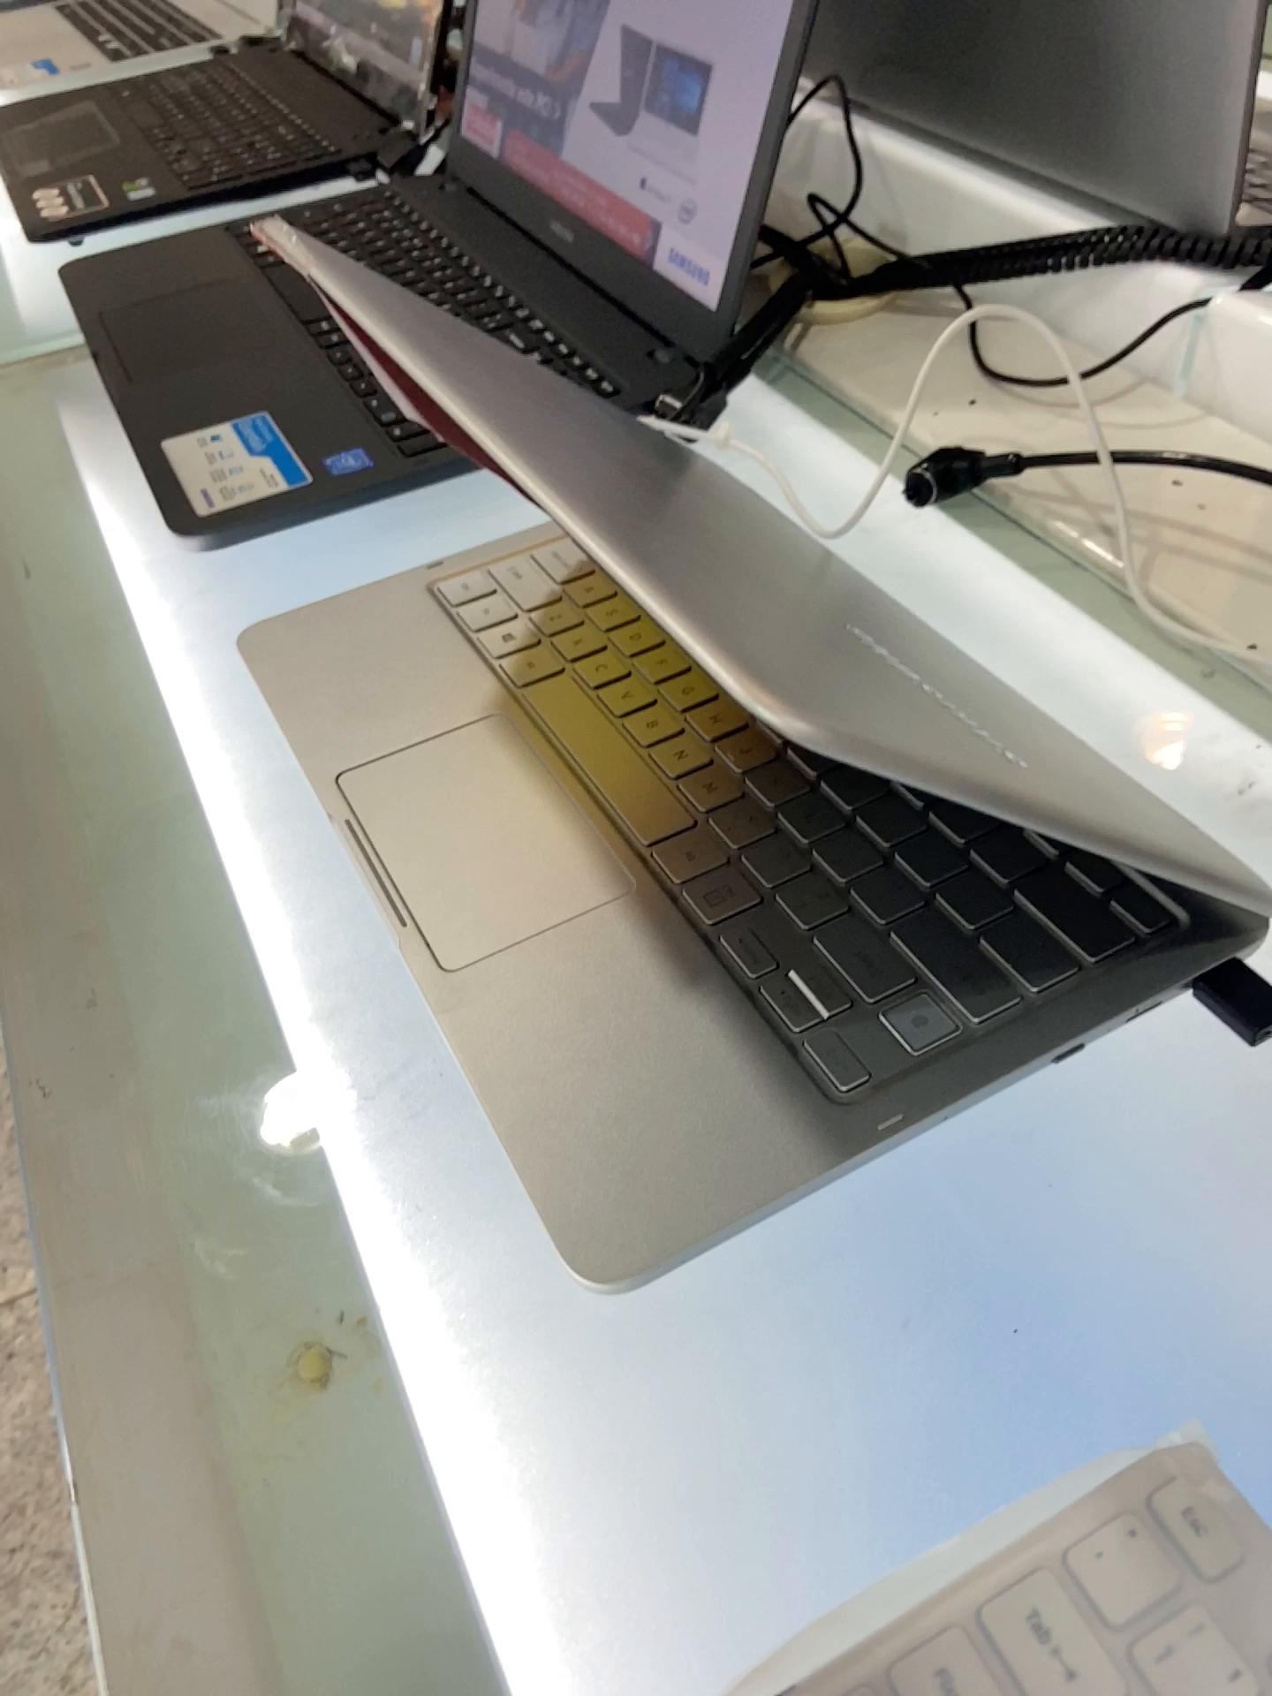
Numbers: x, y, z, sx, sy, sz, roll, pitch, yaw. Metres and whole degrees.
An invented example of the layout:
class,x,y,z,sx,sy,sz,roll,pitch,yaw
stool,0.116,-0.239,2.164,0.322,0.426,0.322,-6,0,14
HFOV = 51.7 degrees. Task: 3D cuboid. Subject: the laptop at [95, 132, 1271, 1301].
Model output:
class,x,y,z,sx,sy,sz,roll,pitch,yaw
laptop,-0.001,-0.077,0.374,0.201,0.132,0.307,-24,45,-16
